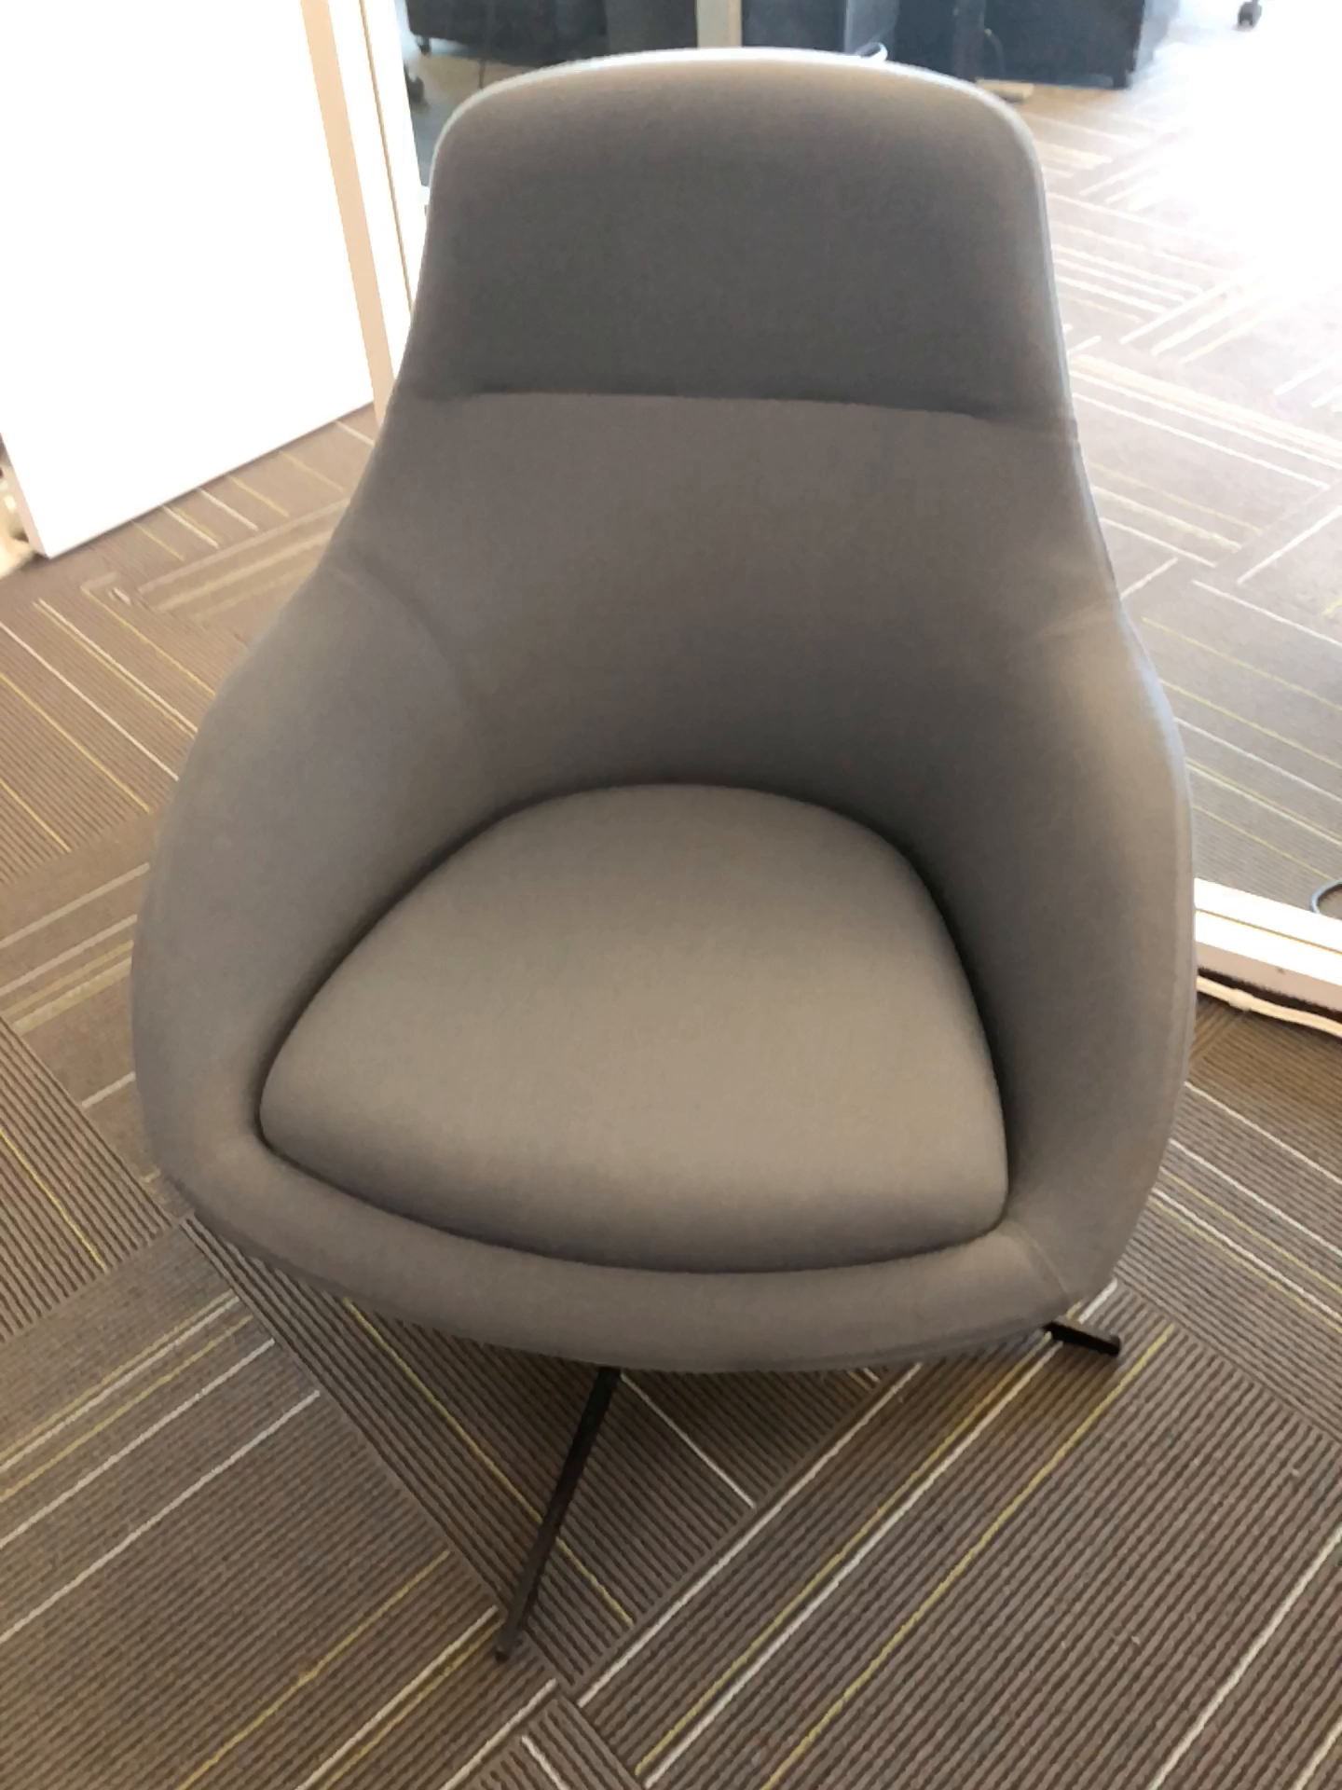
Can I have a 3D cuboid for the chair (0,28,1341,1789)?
[{"bbox_3d":[-0.042,-0.030,1.235,0.931,0.995,0.964,7,44,11],"label":"chair"}]
